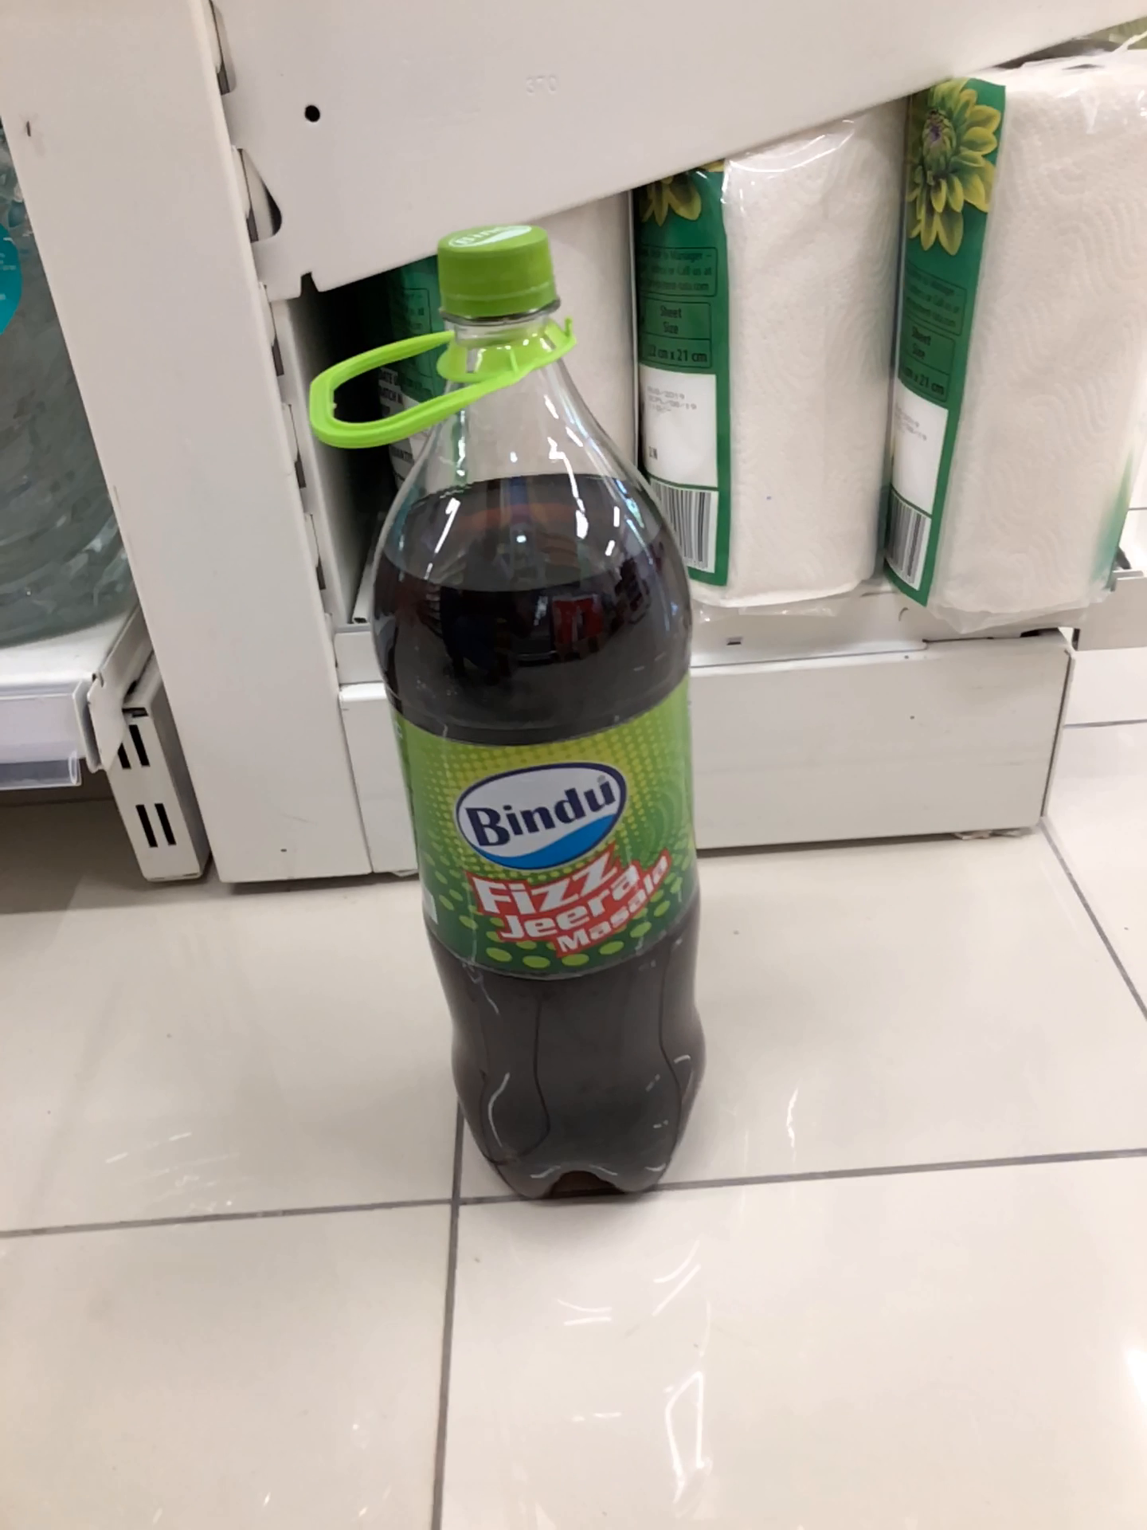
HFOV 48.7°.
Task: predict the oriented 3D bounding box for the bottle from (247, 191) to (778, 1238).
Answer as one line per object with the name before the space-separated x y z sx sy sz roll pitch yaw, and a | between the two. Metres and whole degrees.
bottle | -0.006 0.001 0.385 0.110 0.298 0.101 -3 33 2
